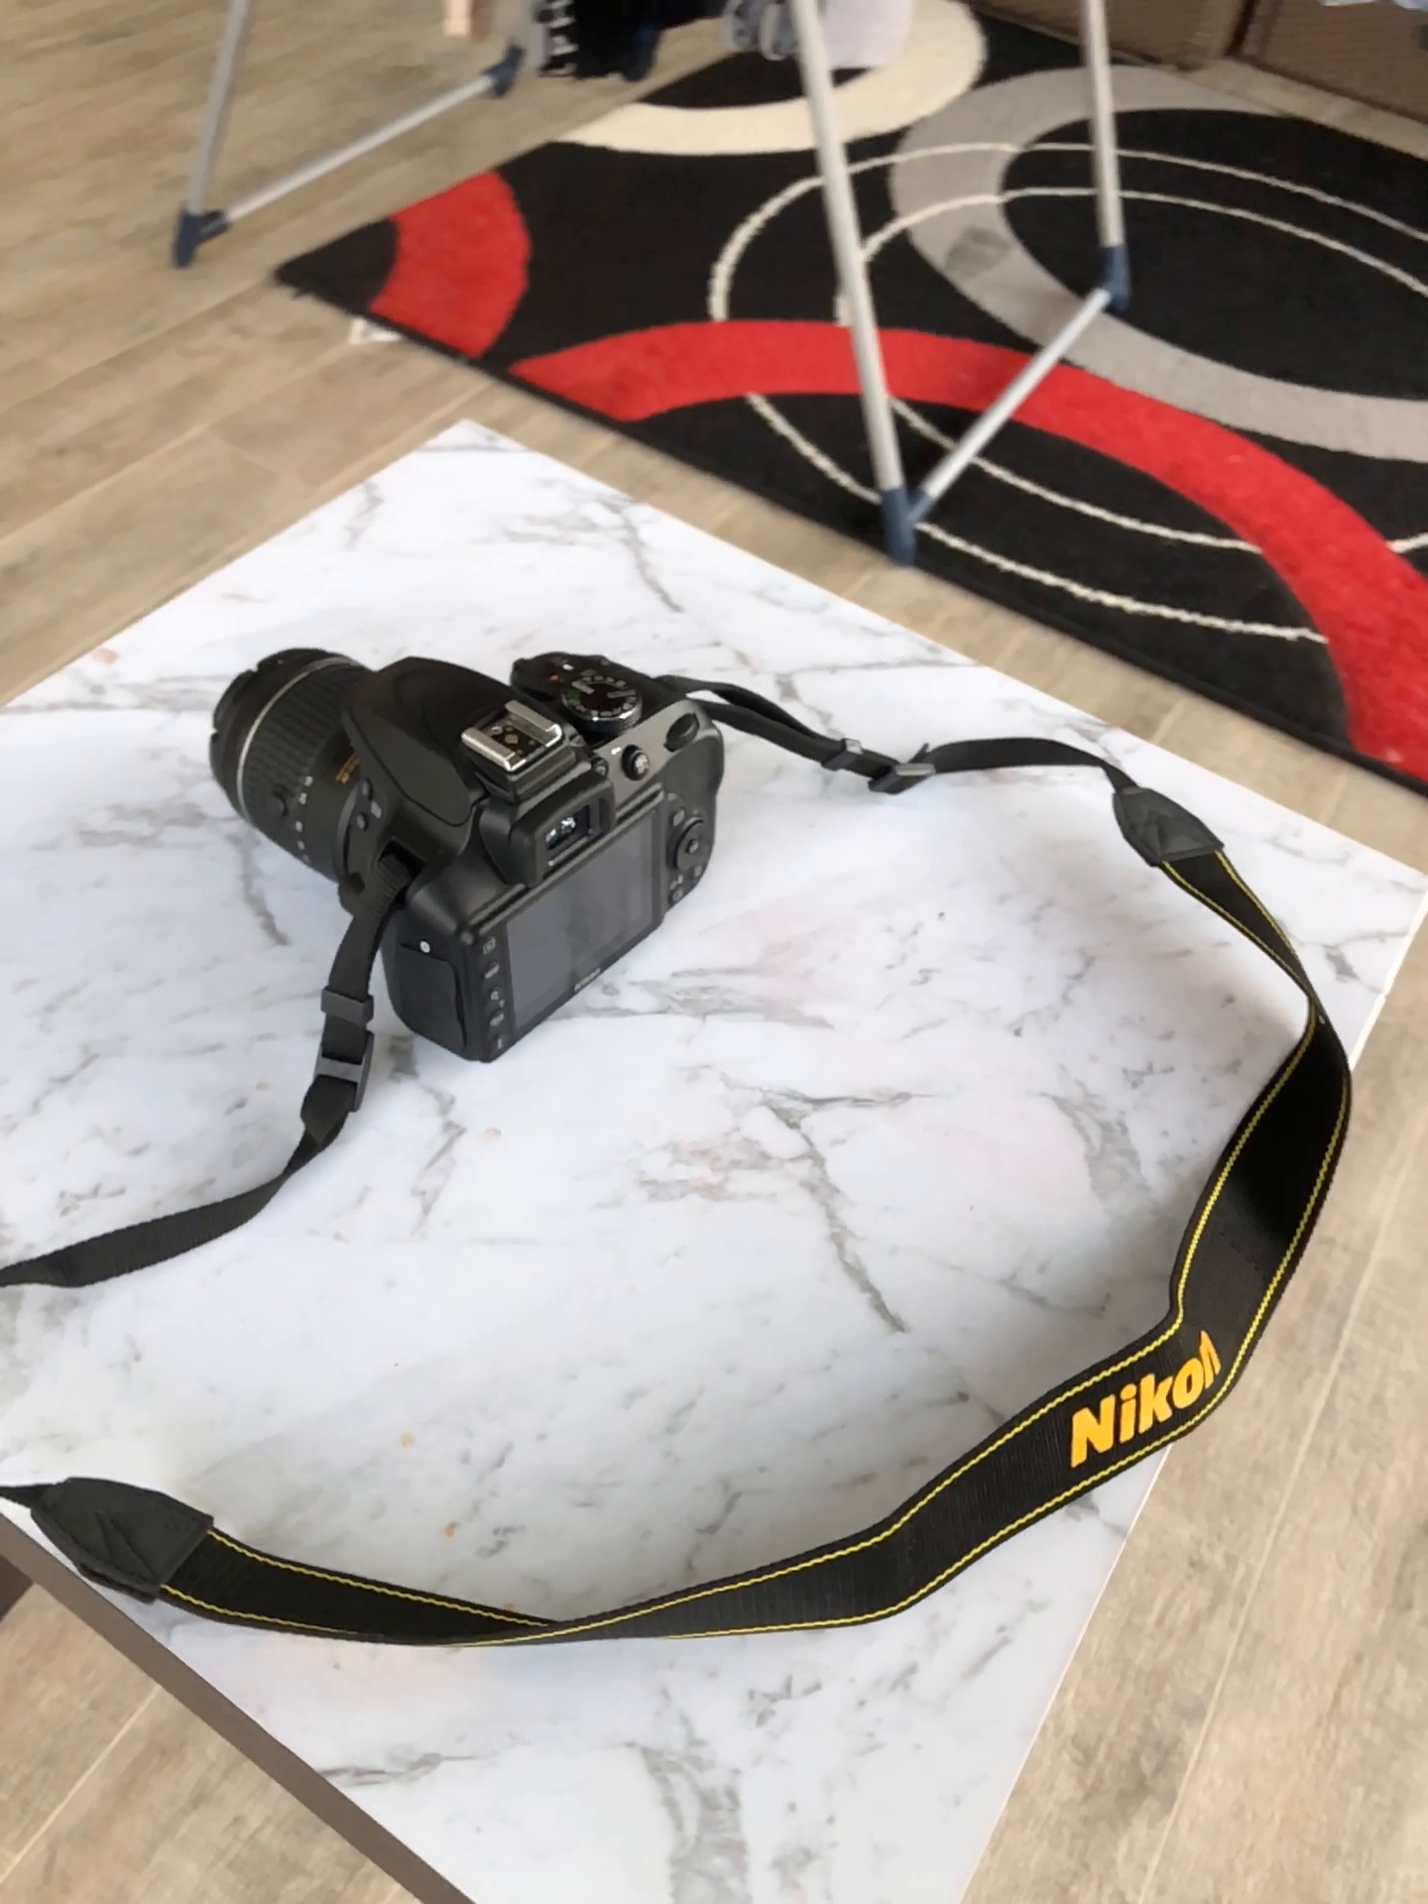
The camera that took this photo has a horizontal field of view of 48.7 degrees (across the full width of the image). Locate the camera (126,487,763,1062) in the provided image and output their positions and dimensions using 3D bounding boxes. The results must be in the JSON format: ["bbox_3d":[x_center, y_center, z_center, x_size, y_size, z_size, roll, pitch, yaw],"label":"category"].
[{"bbox_3d":[-0.079,-0.061,0.487,0.138,0.076,0.122,31,52,22],"label":"camera"}]
